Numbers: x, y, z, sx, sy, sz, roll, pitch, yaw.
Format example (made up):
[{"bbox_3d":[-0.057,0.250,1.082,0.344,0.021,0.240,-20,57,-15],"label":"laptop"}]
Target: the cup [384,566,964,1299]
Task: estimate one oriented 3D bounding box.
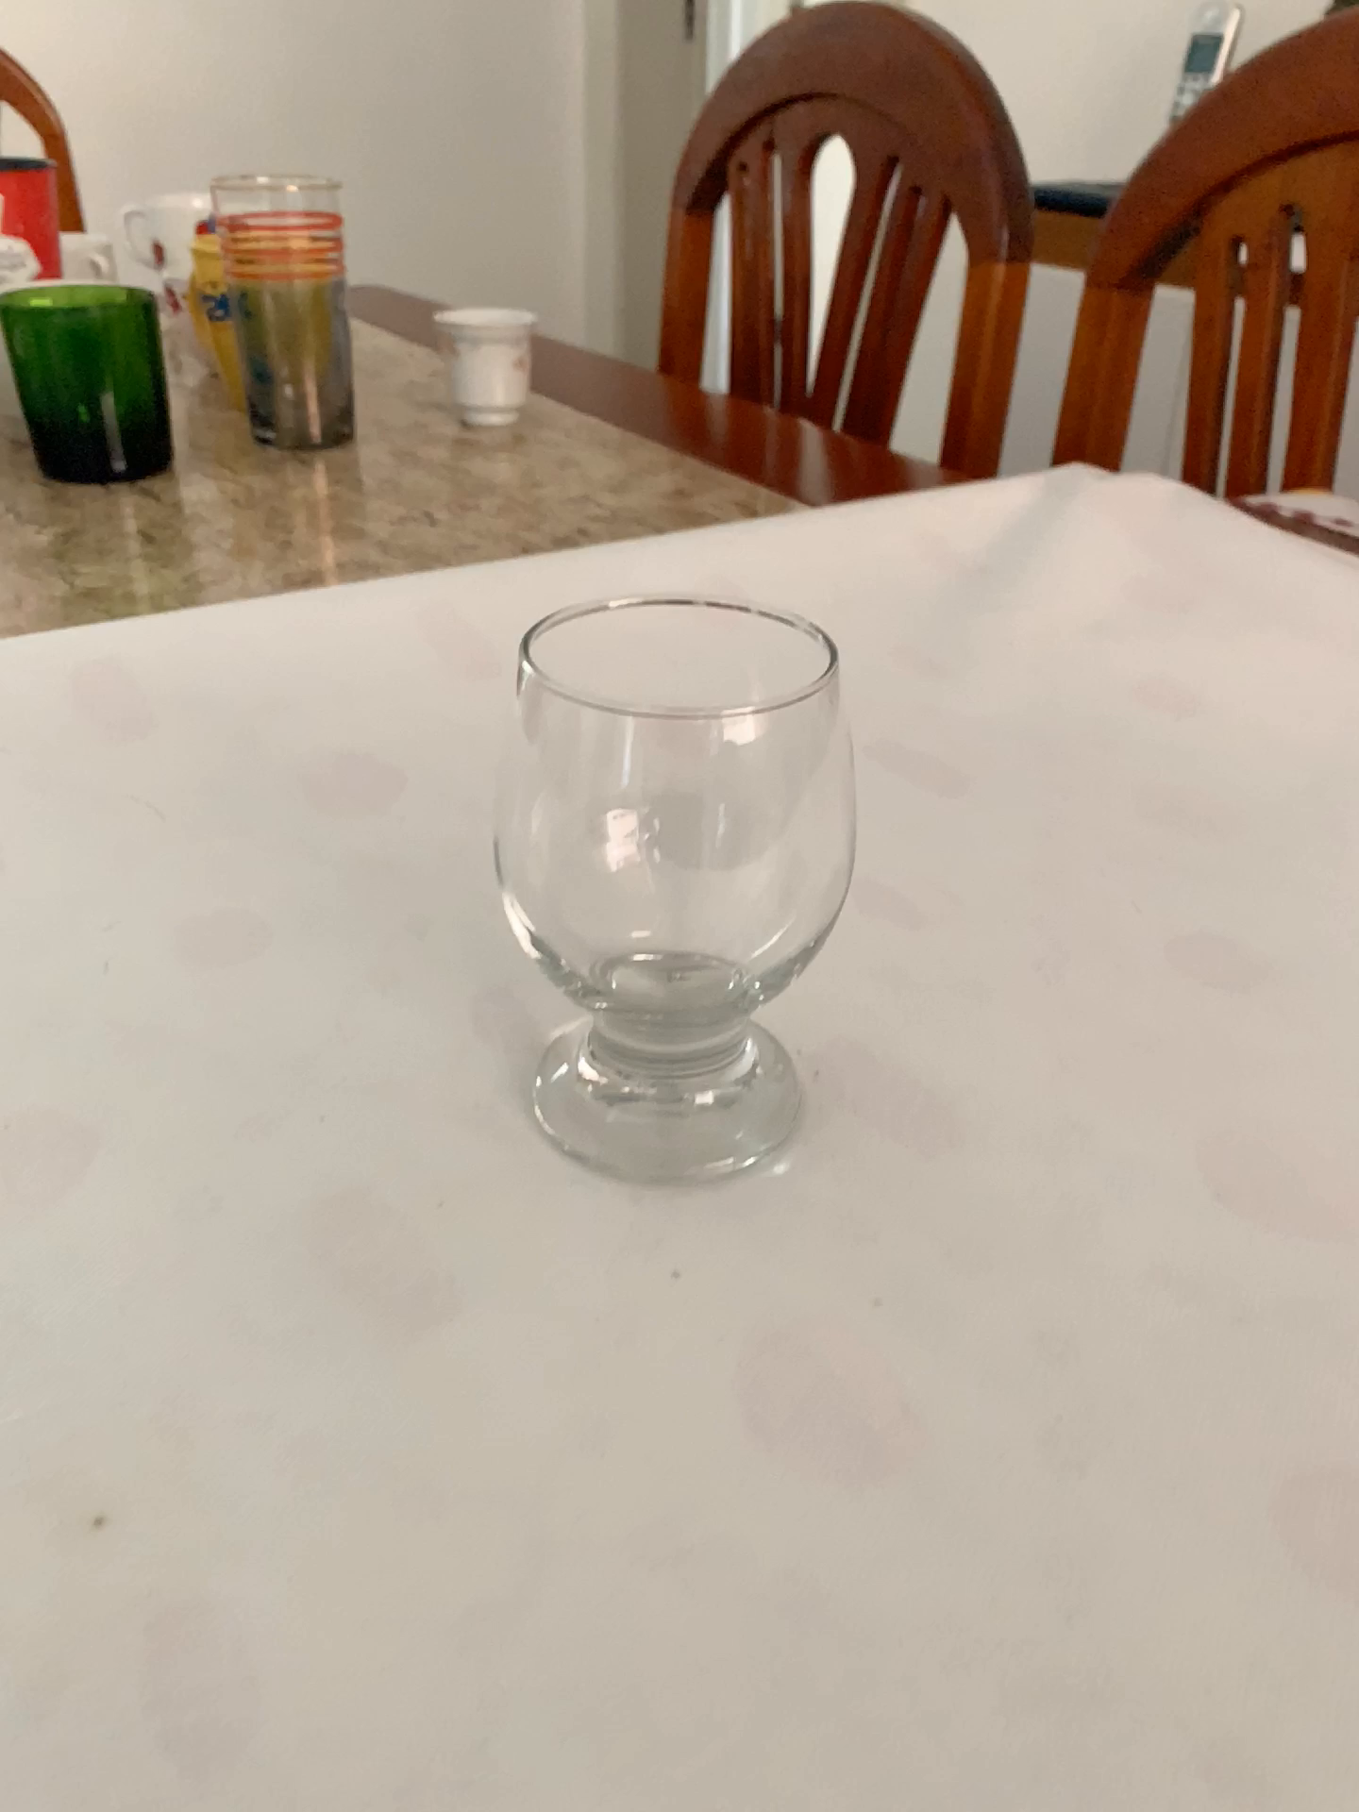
[{"bbox_3d":[-0.005,0.001,0.296,0.080,0.112,0.080,1,31,-1],"label":"cup"}]
